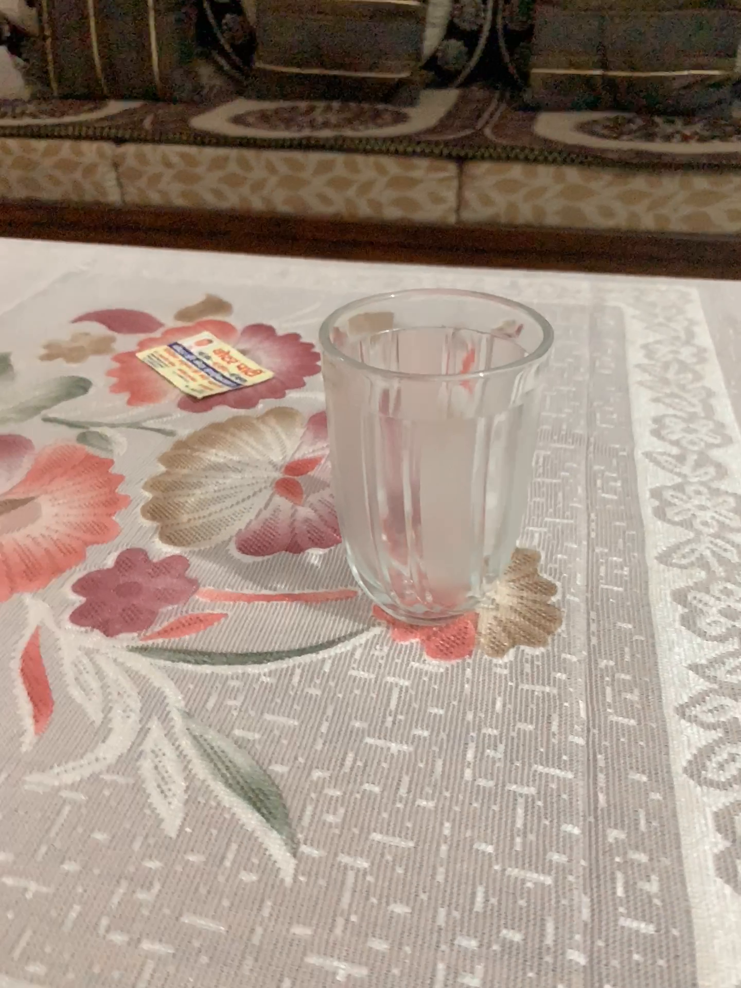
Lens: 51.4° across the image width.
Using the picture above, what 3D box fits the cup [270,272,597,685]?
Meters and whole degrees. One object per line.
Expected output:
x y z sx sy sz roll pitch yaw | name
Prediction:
0.021 -0.008 0.255 0.070 0.100 0.070 -1 35 1 | cup
